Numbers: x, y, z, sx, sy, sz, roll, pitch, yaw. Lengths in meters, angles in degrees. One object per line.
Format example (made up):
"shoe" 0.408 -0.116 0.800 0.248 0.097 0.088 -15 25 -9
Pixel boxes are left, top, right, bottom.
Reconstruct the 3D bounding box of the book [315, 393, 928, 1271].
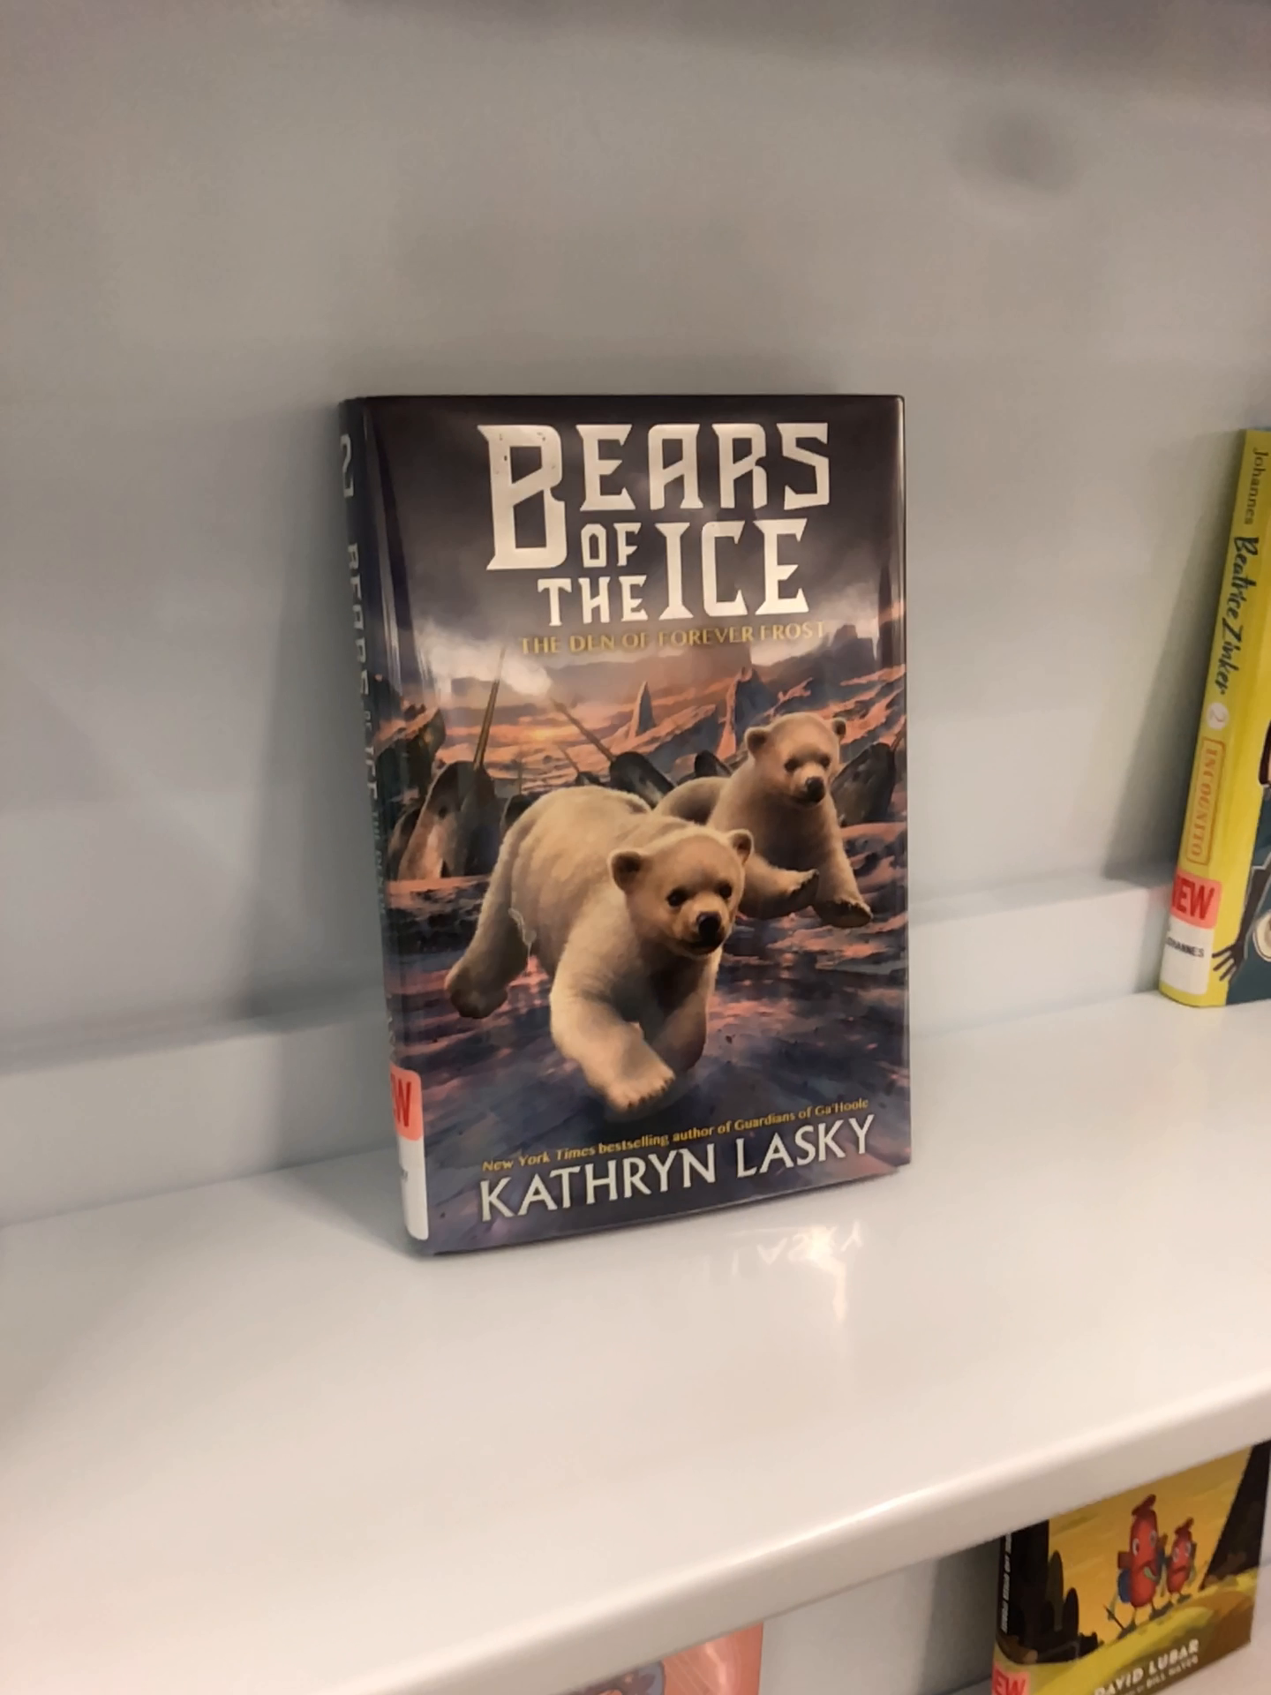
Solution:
"book" 0.001 -0.008 0.387 0.150 0.216 0.043 -6 10 -17
